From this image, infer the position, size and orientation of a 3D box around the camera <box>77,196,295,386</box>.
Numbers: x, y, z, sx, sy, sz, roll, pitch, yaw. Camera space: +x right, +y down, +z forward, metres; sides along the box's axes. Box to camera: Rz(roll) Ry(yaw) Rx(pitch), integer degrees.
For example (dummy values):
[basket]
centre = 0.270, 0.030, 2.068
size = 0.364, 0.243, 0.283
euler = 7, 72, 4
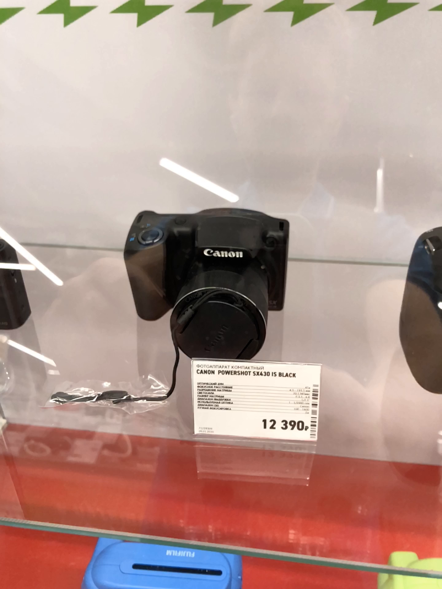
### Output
[camera]
centre = -0.014, -0.007, 0.312
size = 0.113, 0.080, 0.086
euler = 4, 32, 8
